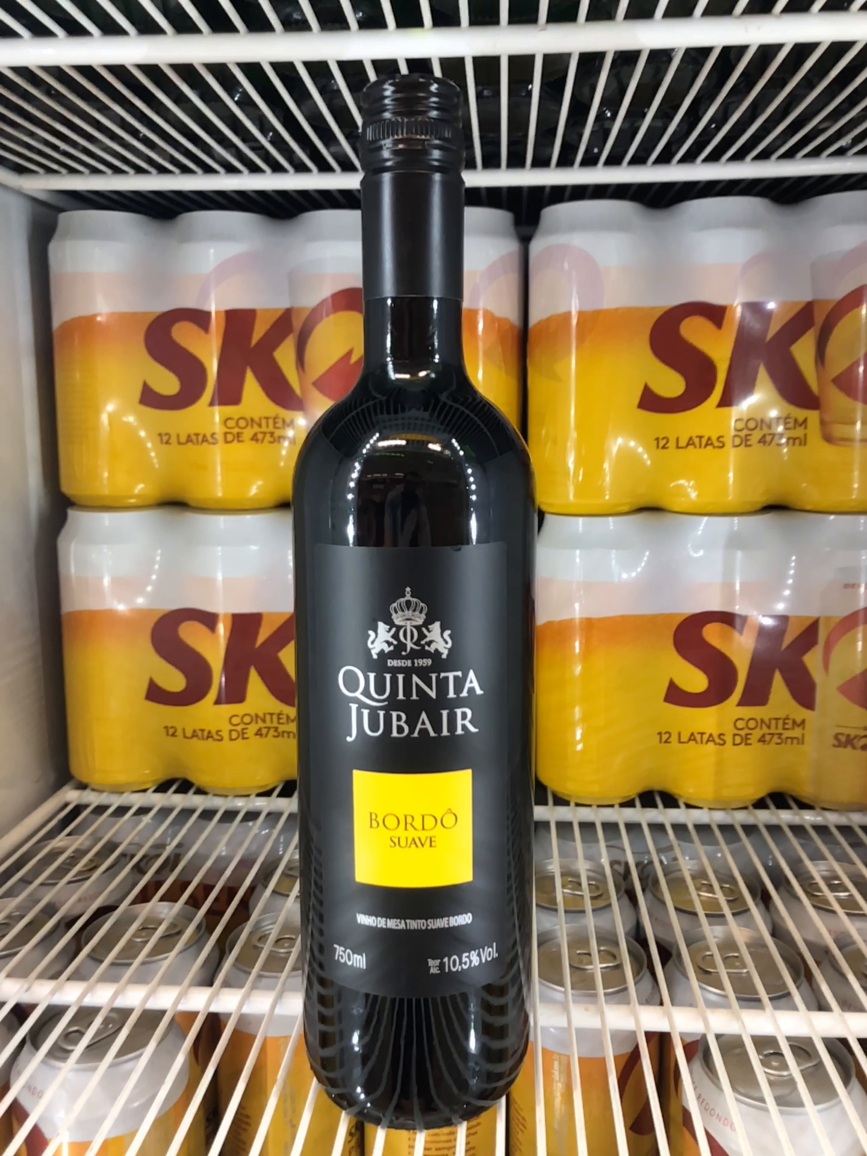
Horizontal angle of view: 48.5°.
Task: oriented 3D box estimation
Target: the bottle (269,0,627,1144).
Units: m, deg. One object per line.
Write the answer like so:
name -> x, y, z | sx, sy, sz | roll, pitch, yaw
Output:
bottle -> 0.009, 0.000, 0.270 | 0.080, 0.289, 0.070 | 0, 9, 6
